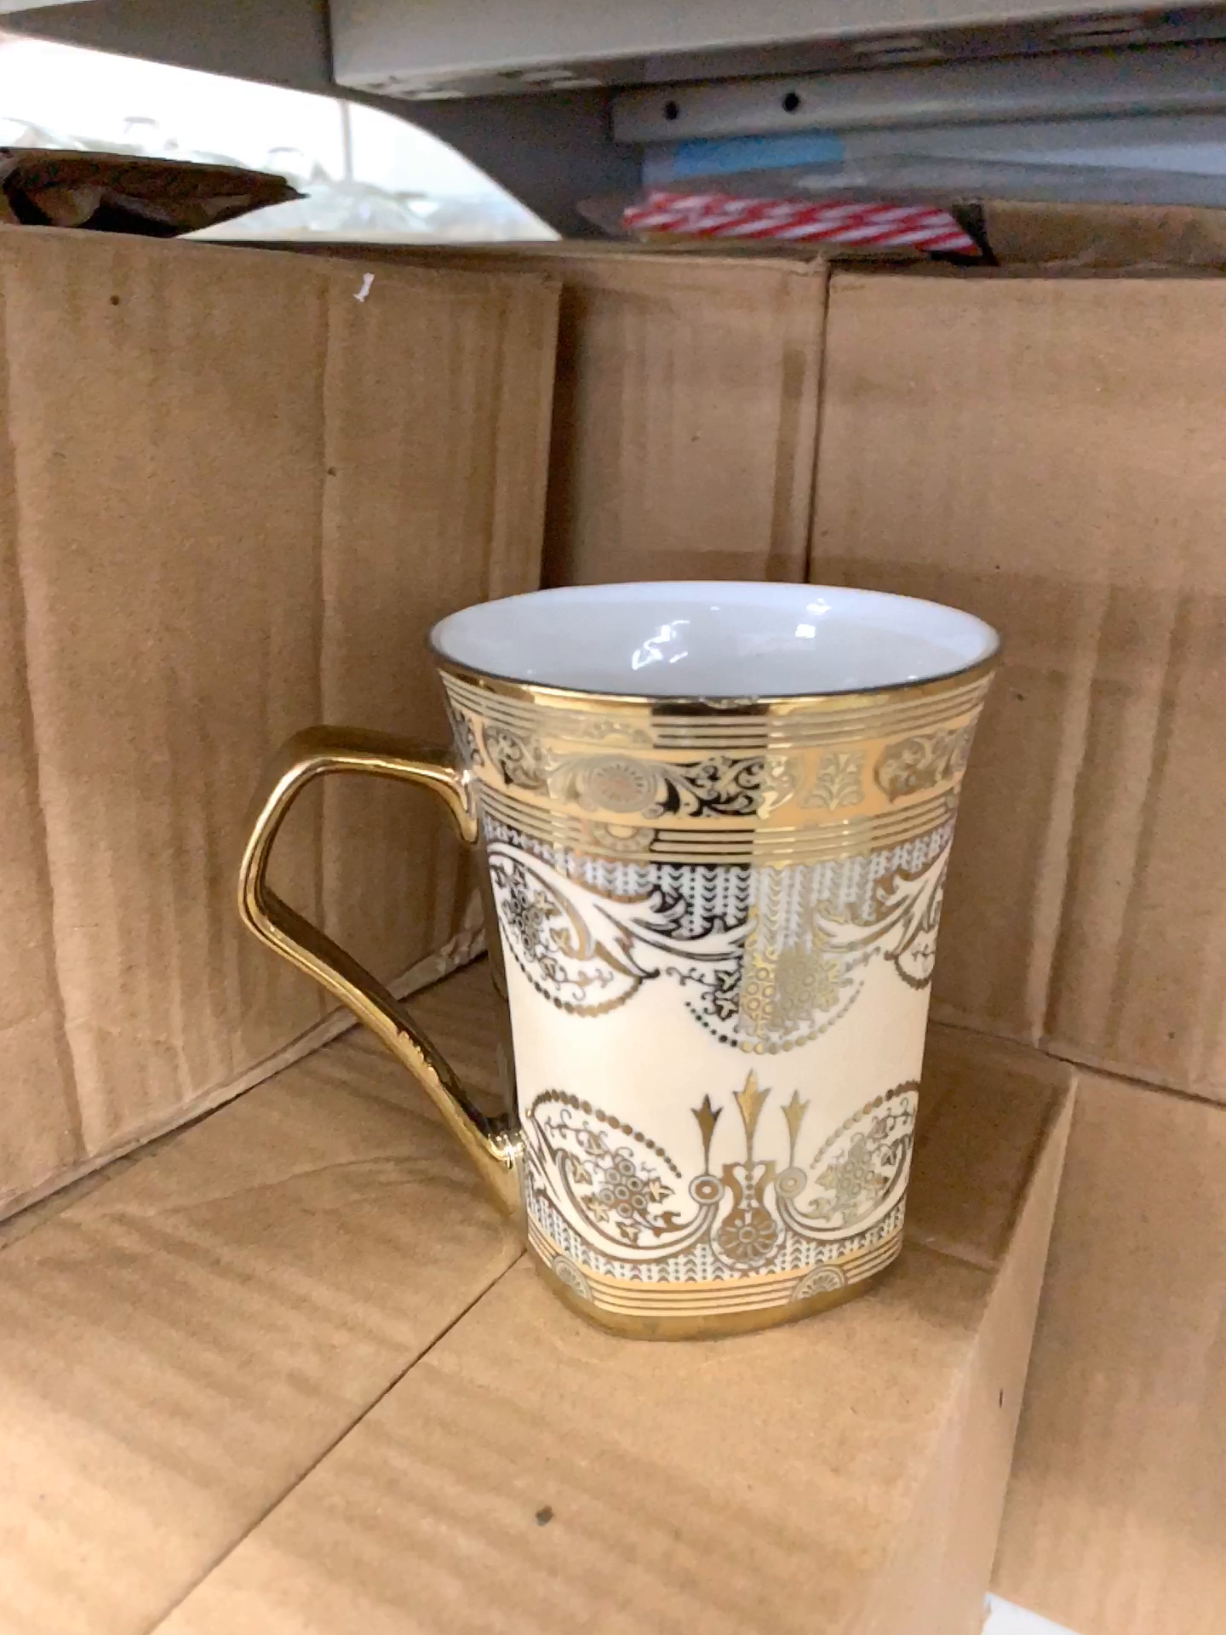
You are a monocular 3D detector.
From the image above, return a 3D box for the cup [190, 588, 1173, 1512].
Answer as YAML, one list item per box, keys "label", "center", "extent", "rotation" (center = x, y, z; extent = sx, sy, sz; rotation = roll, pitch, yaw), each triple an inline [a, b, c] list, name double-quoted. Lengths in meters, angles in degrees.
- label: "cup"
  center: [0.001, 0.021, 0.188]
  extent: [0.110, 0.089, 0.080]
  rotation: [-6, 22, -15]
